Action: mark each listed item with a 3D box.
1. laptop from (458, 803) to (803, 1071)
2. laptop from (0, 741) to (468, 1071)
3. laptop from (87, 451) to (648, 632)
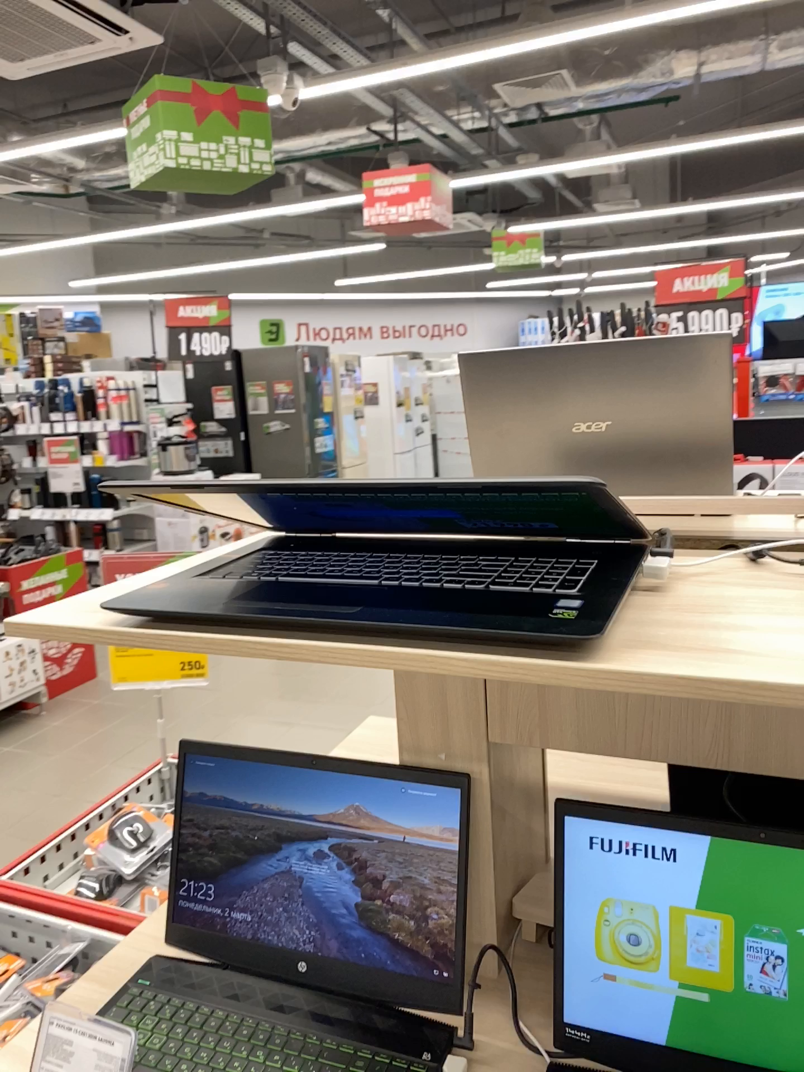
[{"bbox_3d":[0.262,0.386,0.581,0.354,0.226,0.299,0,9,23],"label":"laptop"},{"bbox_3d":[-0.150,0.380,0.770,0.344,0.220,0.315,2,9,21],"label":"laptop"},{"bbox_3d":[-0.013,-0.010,0.707,0.404,0.084,0.271,0,12,23],"label":"laptop"}]
